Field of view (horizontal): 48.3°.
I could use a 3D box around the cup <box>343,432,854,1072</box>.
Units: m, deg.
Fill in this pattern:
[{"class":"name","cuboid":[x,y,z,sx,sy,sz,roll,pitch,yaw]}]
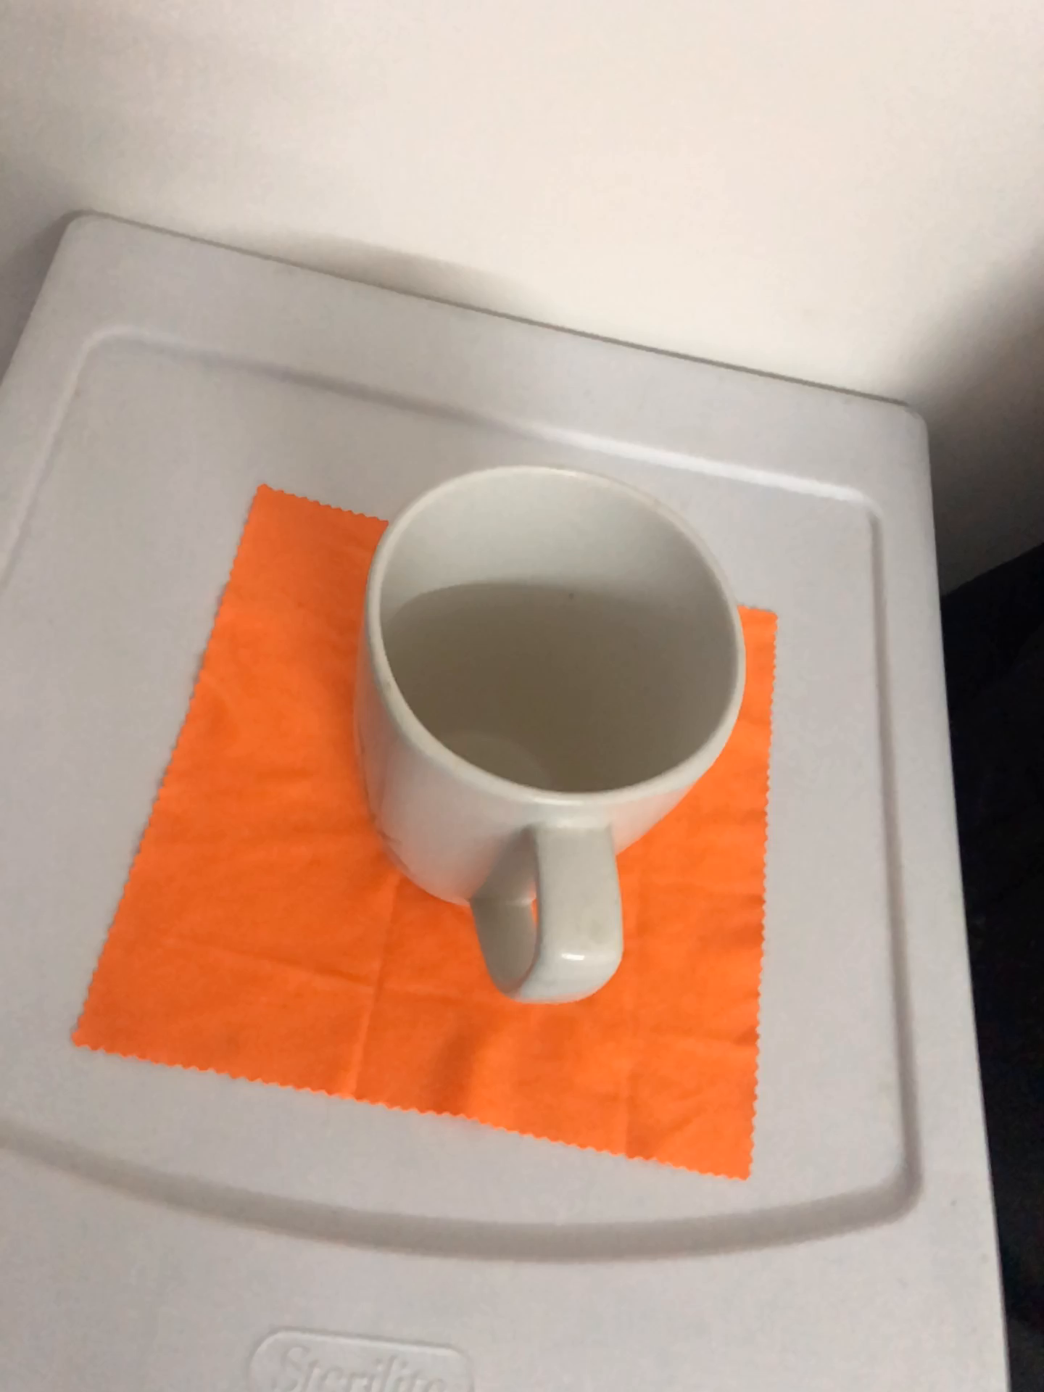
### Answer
[{"class":"cup","cuboid":[0.008,0.020,0.286,0.090,0.100,0.120,5,61,-11]}]
